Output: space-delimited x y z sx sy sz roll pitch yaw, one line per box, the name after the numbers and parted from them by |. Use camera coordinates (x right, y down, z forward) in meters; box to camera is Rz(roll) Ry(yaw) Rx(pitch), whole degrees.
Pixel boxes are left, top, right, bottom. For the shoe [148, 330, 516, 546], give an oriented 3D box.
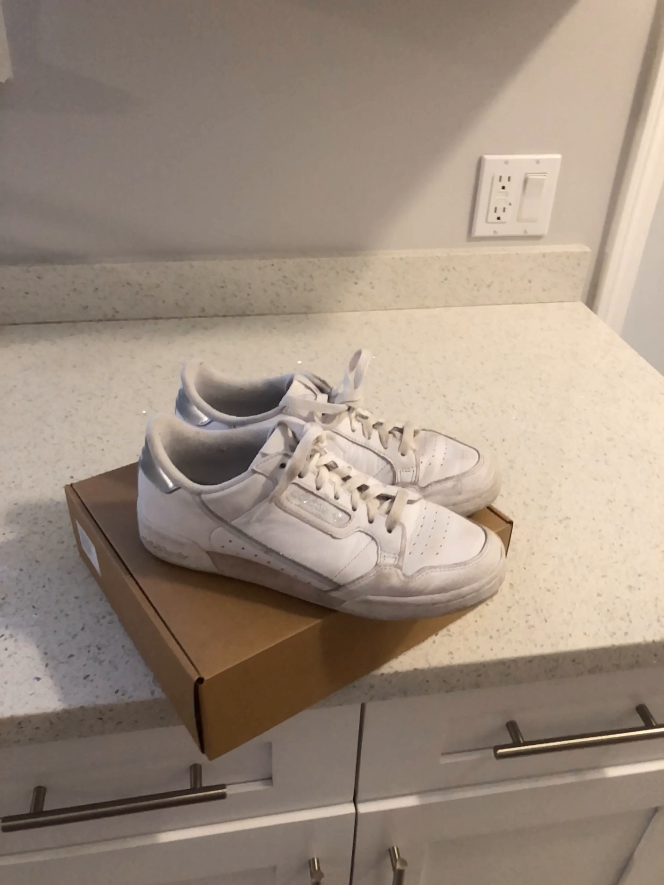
0.003 -0.009 0.593 0.268 0.100 0.108 7 34 8 | shoe

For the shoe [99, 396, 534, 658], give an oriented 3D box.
-0.007 0.053 0.511 0.268 0.100 0.108 7 34 8 | shoe
